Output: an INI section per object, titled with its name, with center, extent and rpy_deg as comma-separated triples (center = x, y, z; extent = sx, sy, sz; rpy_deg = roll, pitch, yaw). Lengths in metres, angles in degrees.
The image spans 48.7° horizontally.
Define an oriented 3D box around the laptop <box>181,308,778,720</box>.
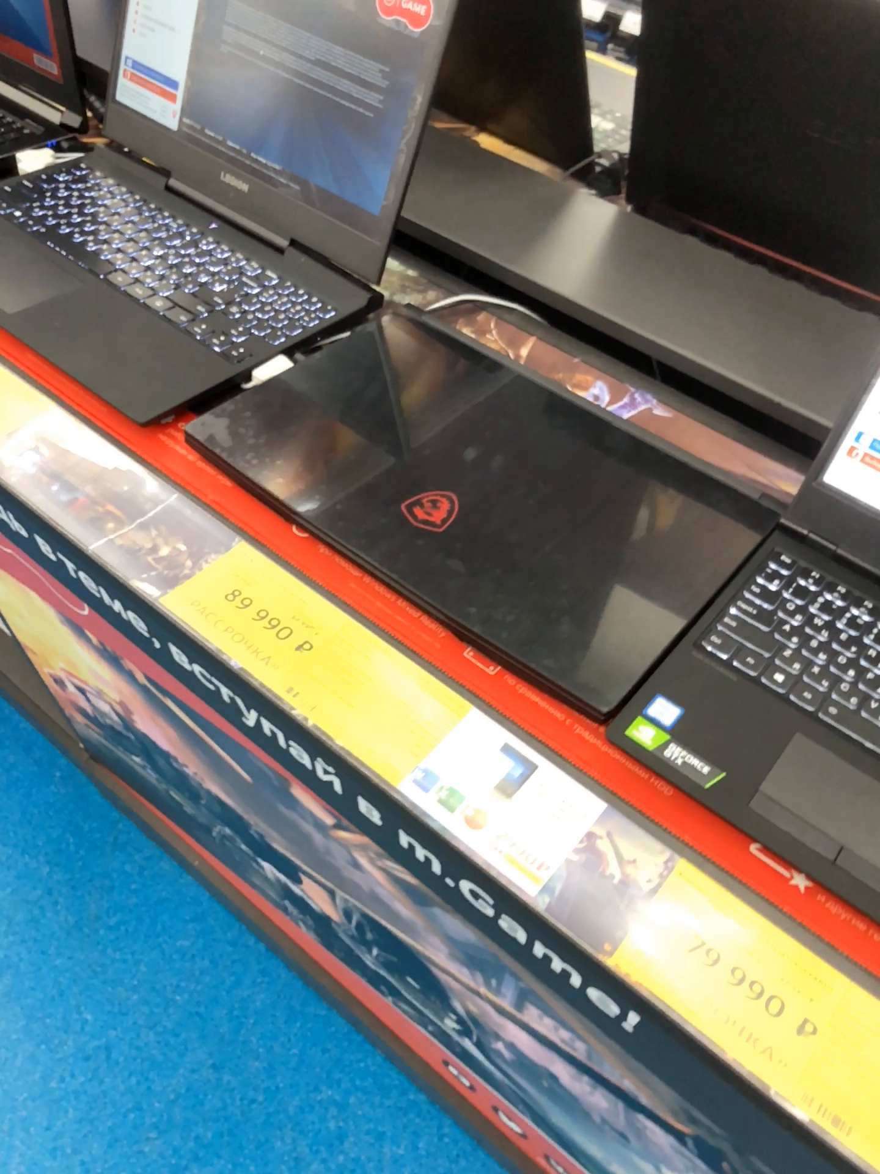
[laptop]
center = 0.028, -0.080, 0.680
extent = 0.353, 0.002, 0.239
rpy_deg = 33, 51, 23
